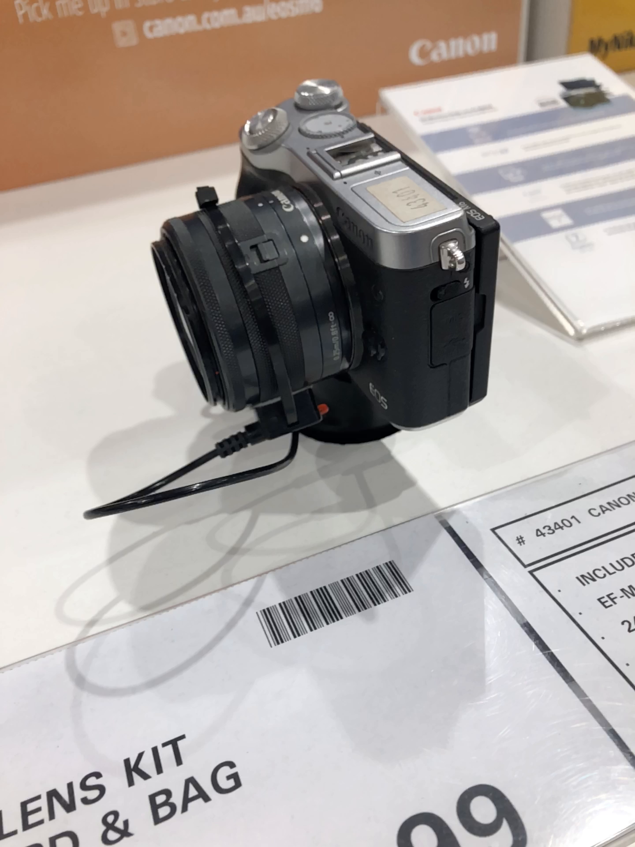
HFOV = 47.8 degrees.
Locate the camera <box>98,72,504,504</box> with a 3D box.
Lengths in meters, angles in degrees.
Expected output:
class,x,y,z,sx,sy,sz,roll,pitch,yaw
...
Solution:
class,x,y,z,sx,sy,sz,roll,pitch,yaw
camera,-0.008,-0.049,0.224,0.083,0.075,0.103,-20,43,-12
